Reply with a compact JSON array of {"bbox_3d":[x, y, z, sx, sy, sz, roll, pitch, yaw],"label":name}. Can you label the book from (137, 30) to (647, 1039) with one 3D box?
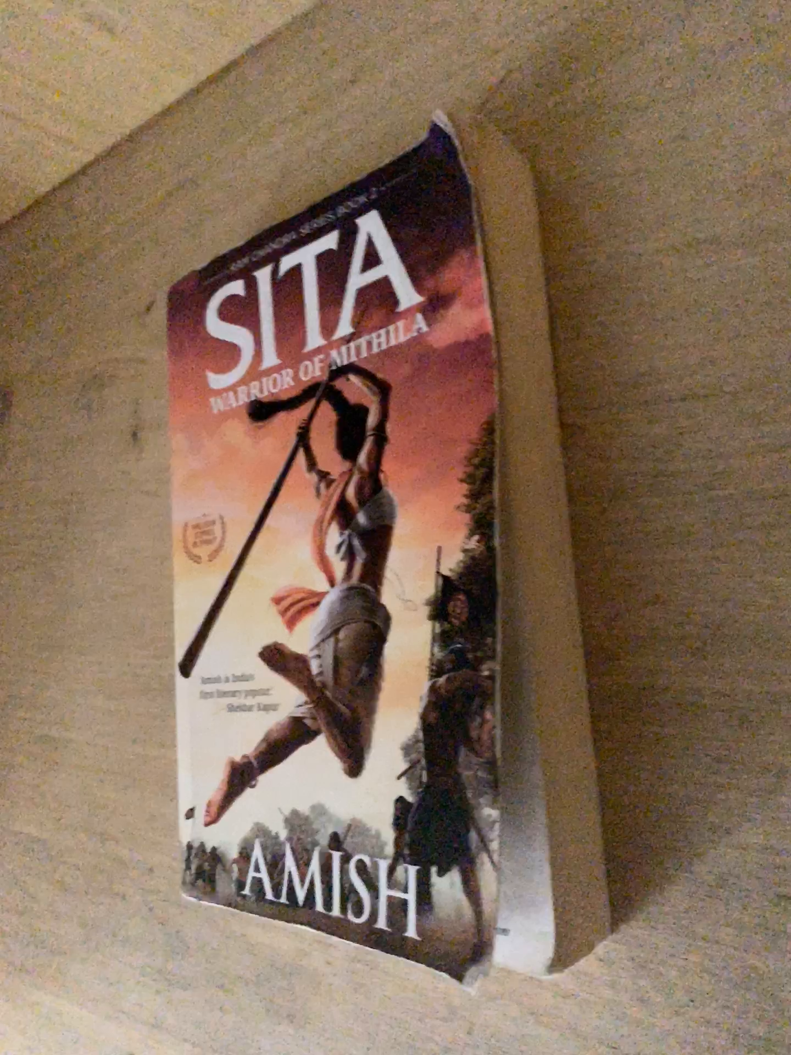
[{"bbox_3d":[-0.017,0.003,0.218,0.141,0.030,0.200,-12,77,41],"label":"book"}]
